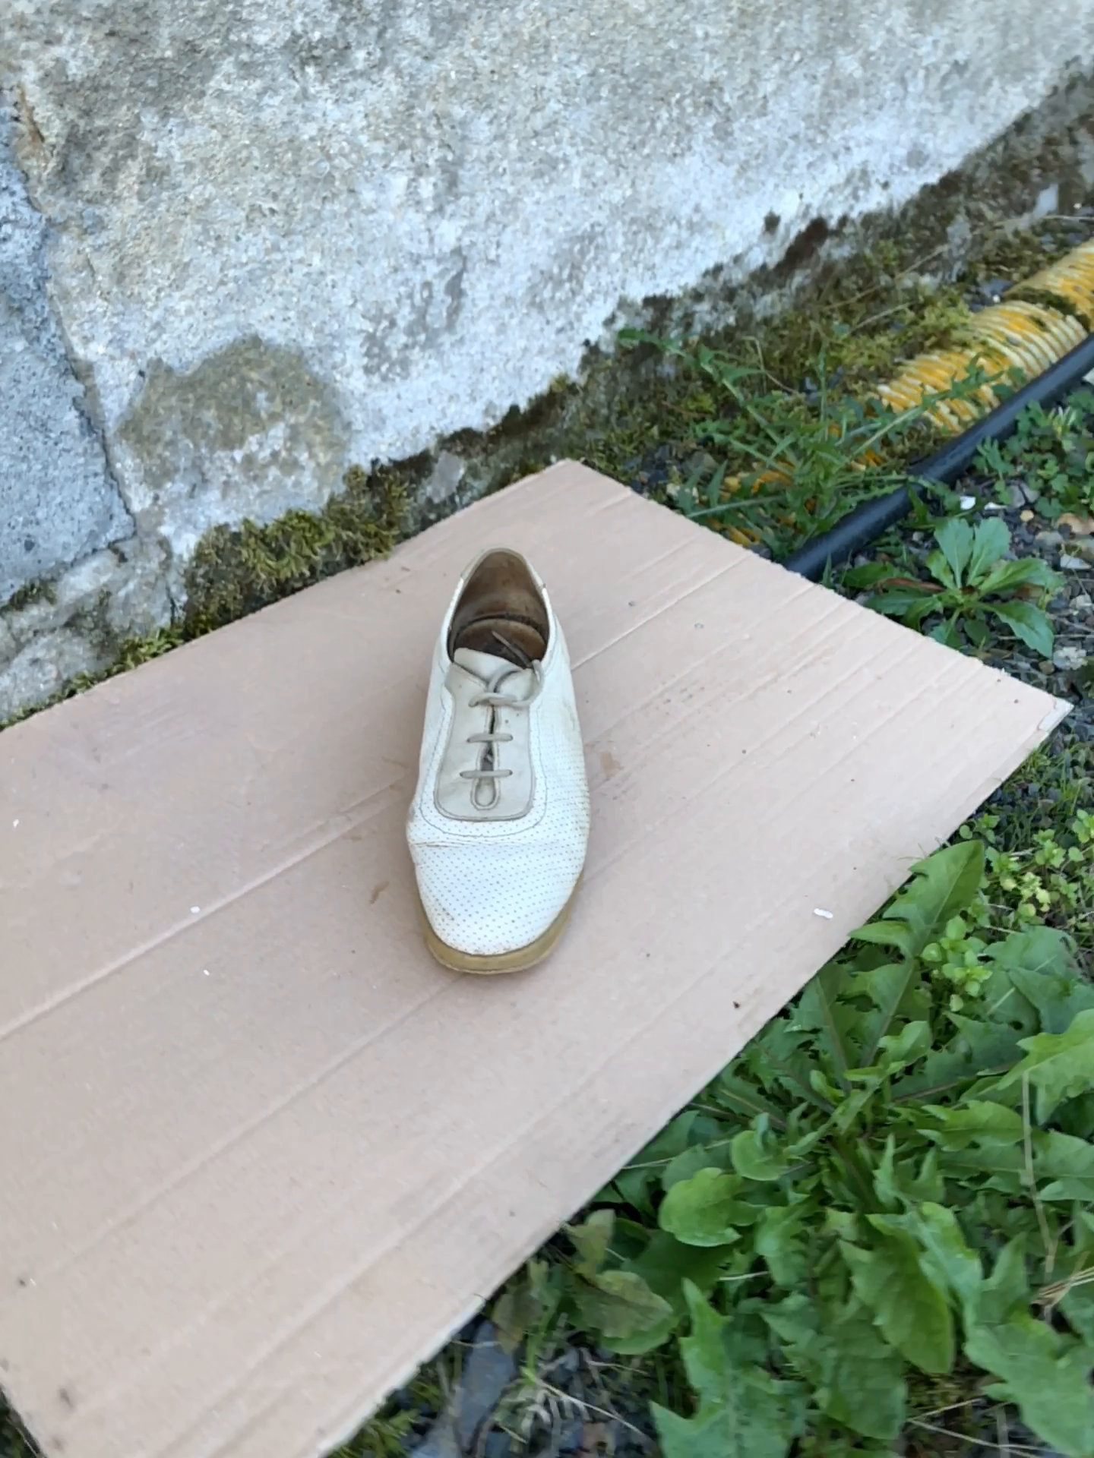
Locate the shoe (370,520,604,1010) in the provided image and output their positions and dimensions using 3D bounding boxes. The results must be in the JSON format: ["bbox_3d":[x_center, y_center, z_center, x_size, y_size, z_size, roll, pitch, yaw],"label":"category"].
[{"bbox_3d":[-0.019,0.006,0.617,0.090,0.090,0.262,-2,43,5],"label":"shoe"}]
